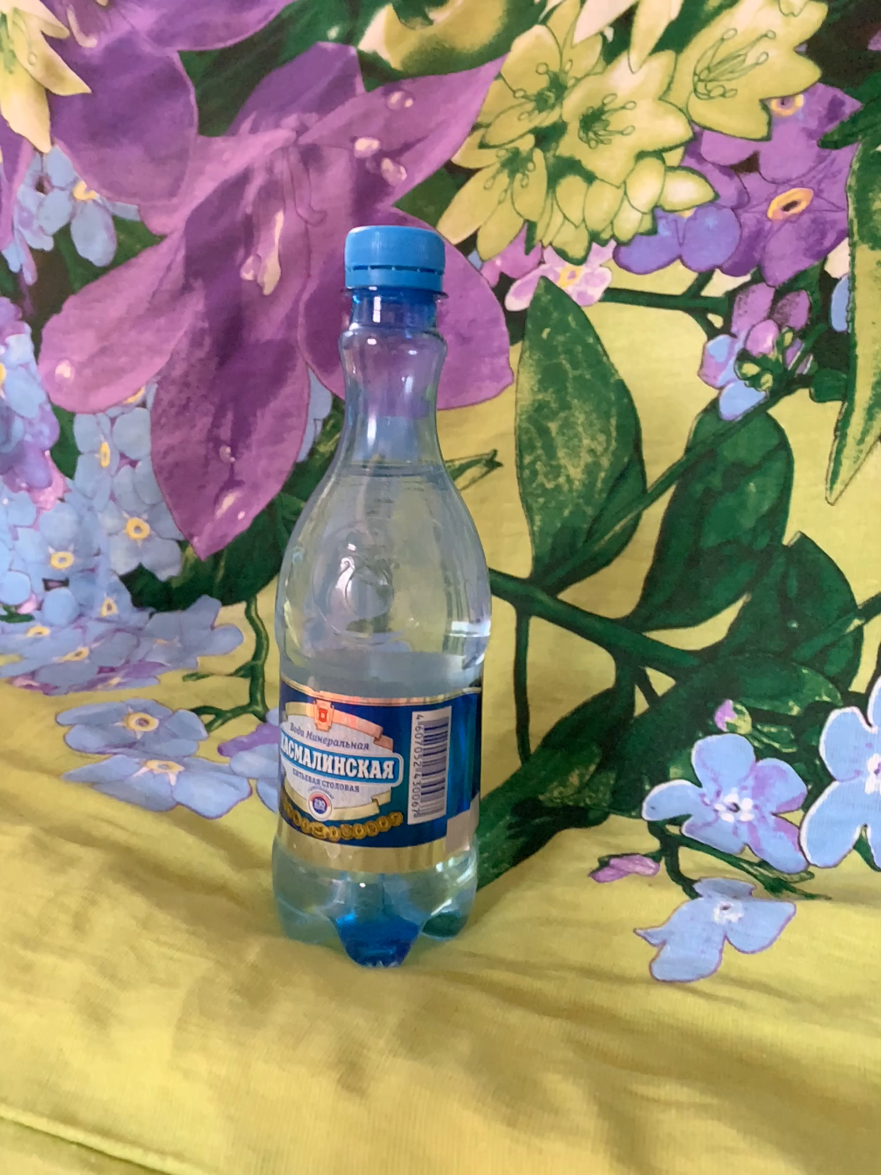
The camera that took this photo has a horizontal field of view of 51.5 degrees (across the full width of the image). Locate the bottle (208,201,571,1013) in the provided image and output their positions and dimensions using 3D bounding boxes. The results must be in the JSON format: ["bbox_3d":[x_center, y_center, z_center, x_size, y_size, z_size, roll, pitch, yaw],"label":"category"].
[{"bbox_3d":[-0.014,0.004,0.288,0.080,0.219,0.070,8,14,29],"label":"bottle"}]
